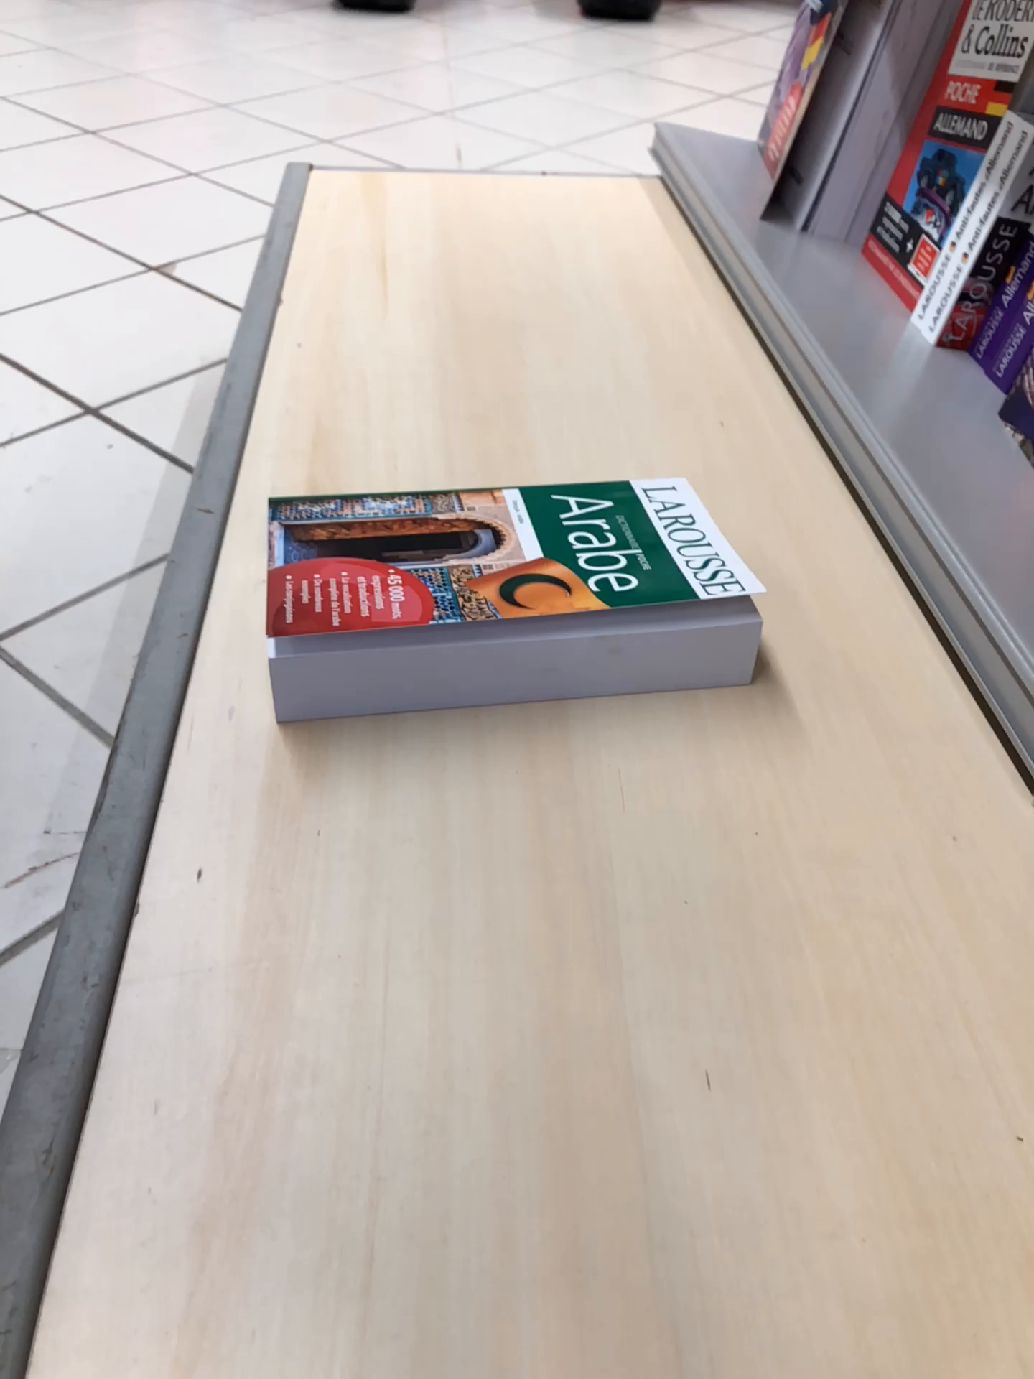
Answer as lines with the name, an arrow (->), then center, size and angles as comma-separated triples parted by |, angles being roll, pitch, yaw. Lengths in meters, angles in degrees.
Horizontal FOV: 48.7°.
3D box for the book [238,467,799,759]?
book -> -0.004, -0.034, 0.424 | 0.182, 0.045, 0.111 | -2, 40, -7
